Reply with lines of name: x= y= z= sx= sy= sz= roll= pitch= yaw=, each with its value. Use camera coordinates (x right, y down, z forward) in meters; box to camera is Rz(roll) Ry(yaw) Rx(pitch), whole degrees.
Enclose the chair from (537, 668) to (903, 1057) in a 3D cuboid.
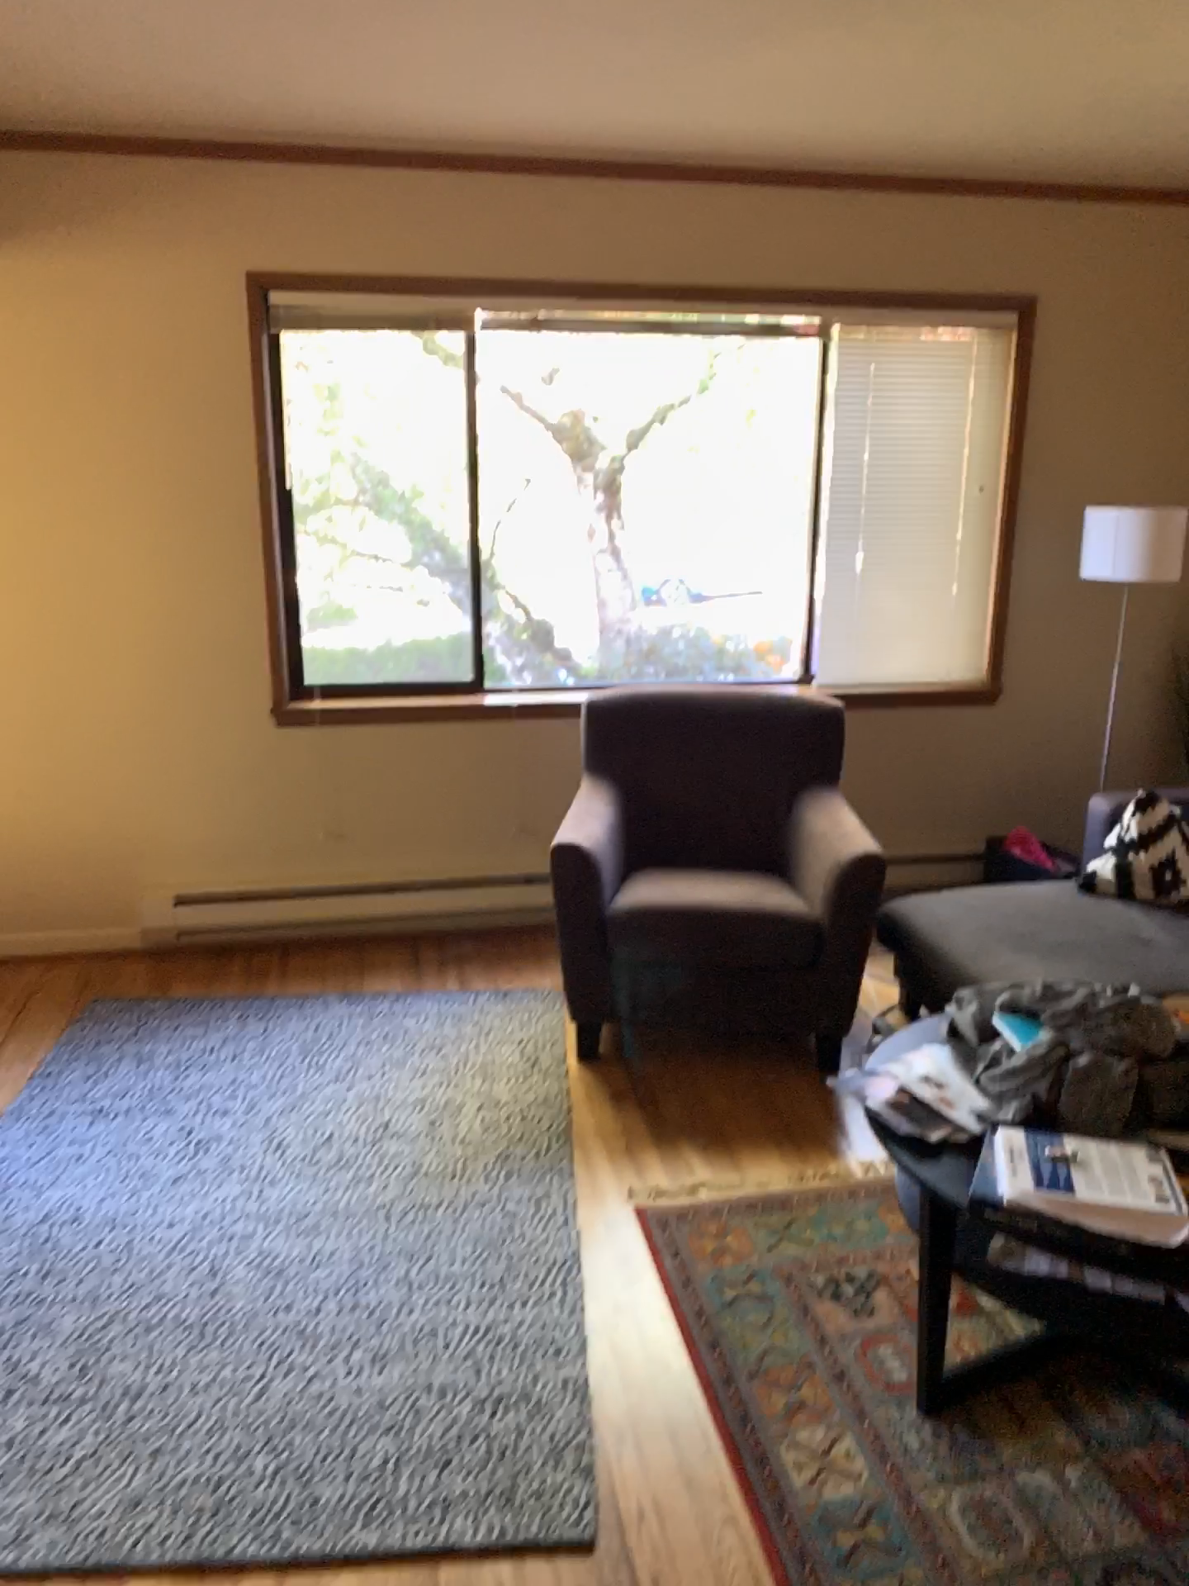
chair: x=0.317 y=0.145 z=3.433 sx=0.880 sy=0.877 sz=0.802 roll=1 pitch=13 yaw=3
